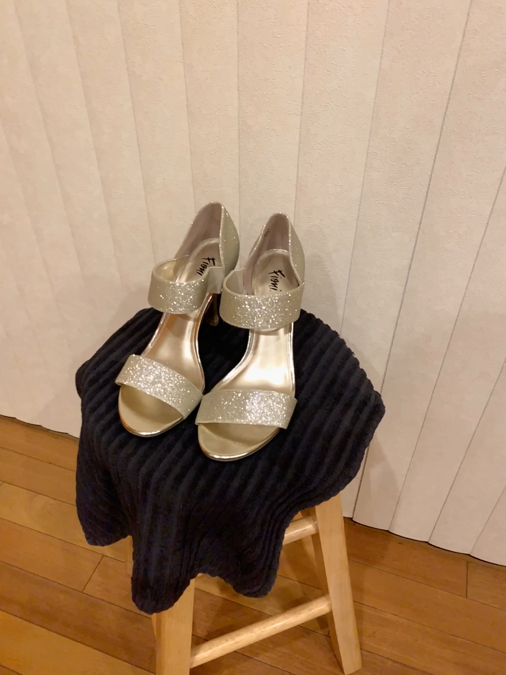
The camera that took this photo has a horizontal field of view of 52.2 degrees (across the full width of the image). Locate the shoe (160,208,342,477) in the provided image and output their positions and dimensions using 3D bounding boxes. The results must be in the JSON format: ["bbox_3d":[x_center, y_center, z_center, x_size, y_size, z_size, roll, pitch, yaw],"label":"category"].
[{"bbox_3d":[0.011,-0.010,0.506,0.090,0.129,0.237,13,41,14],"label":"shoe"}]

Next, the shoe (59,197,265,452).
[{"bbox_3d":[-0.071,-0.027,0.526,0.095,0.129,0.236,13,41,14],"label":"shoe"}]
